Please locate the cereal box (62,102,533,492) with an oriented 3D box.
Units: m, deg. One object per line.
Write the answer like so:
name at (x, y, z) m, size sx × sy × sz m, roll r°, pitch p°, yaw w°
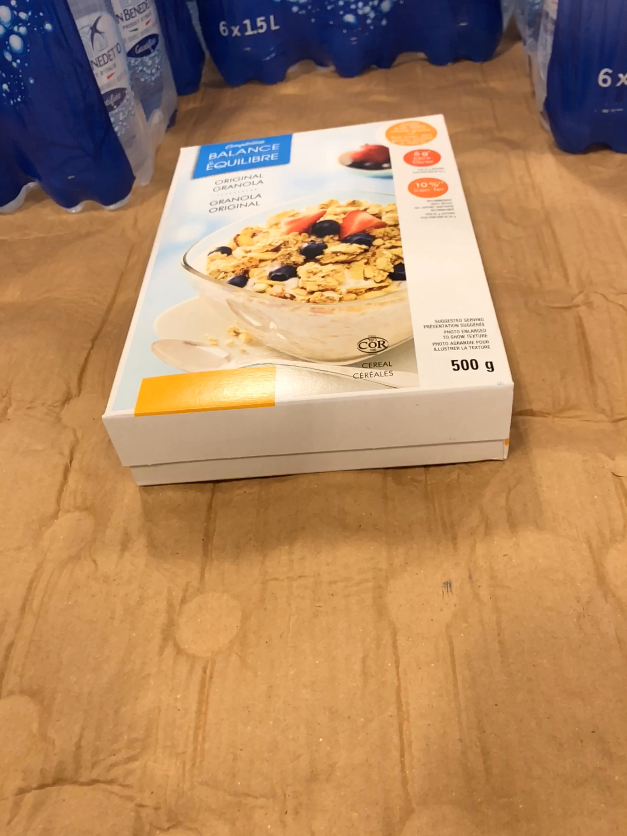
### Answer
cereal box at (-0.006, -0.081, 0.370) m, size 0.180 × 0.050 × 0.251 m, roll -4°, pitch 46°, yaw 4°
